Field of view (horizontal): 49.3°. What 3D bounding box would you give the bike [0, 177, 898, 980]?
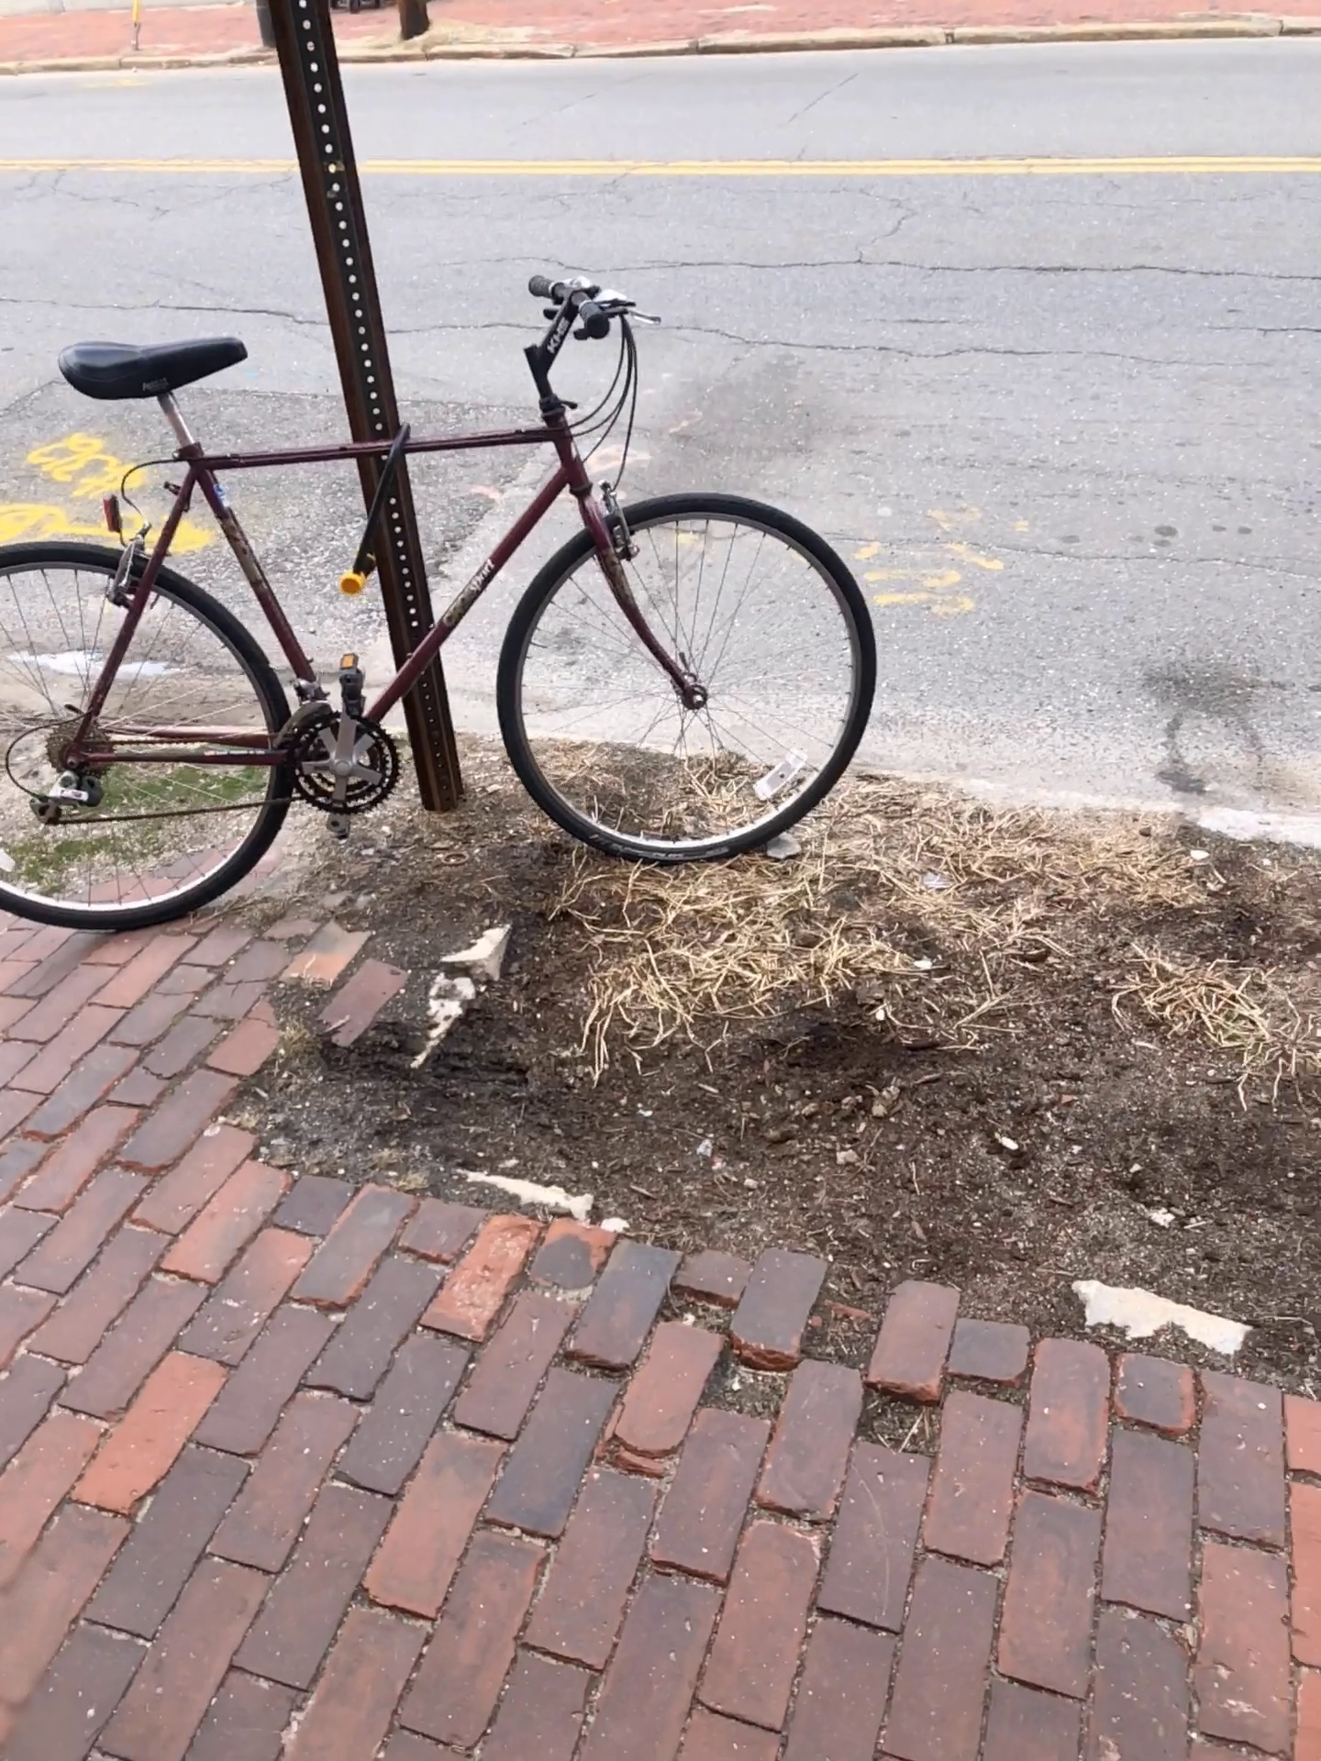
[{"bbox_3d":[-0.484,-0.533,2.487,1.681,0.962,0.558,-10,35,-6],"label":"bike"}]
